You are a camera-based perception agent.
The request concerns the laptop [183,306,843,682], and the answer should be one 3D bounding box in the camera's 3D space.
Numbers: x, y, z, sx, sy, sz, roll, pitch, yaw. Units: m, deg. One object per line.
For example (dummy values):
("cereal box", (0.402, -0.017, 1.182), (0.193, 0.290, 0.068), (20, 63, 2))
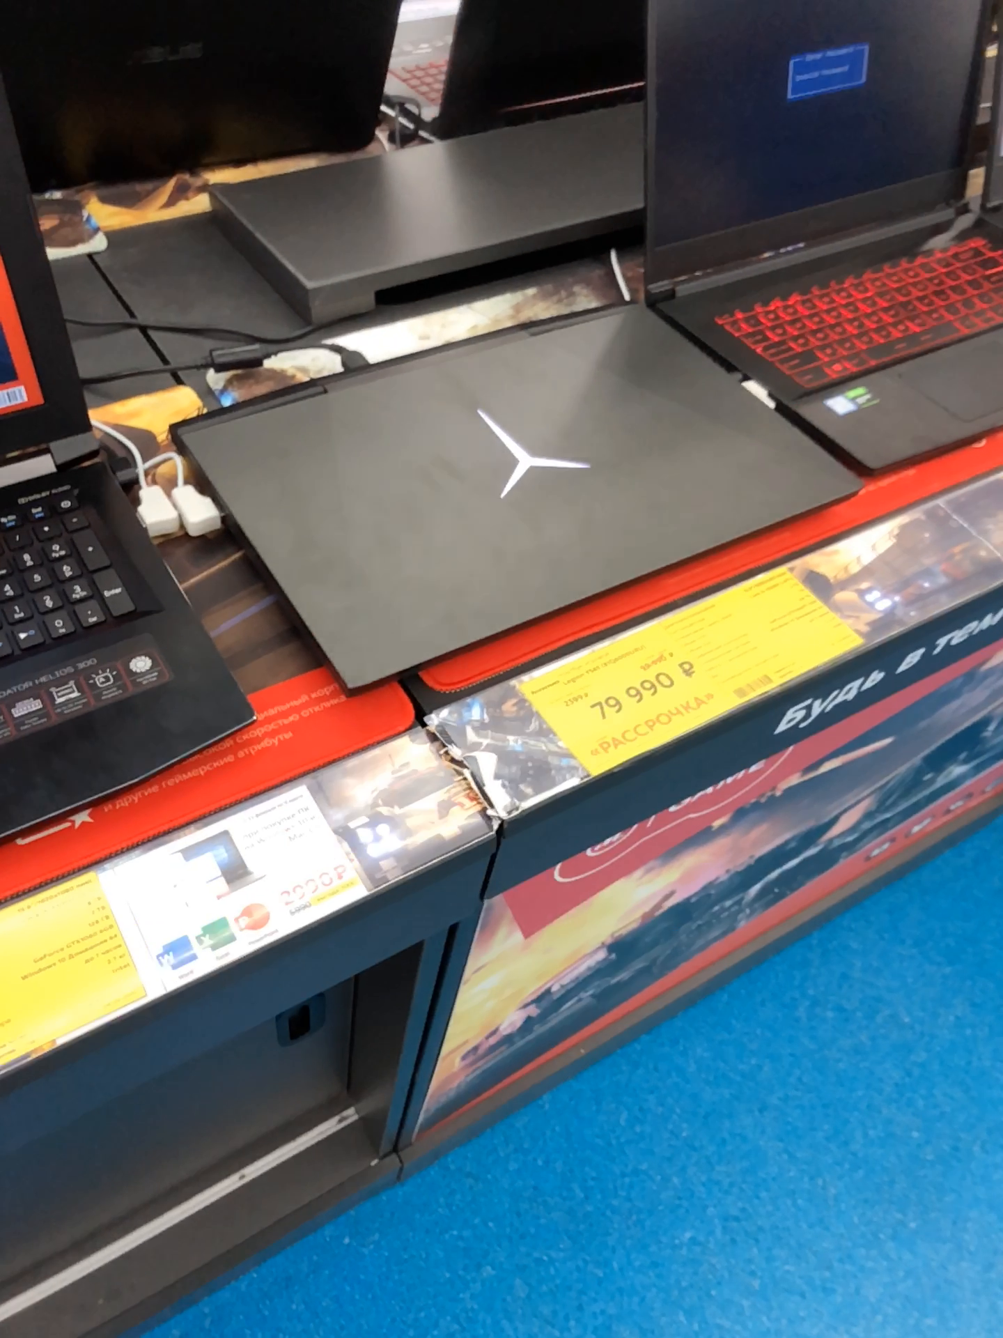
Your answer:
("laptop", (0.008, -0.131, 0.697), (0.344, 0.007, 0.227), (-23, 54, -22))
